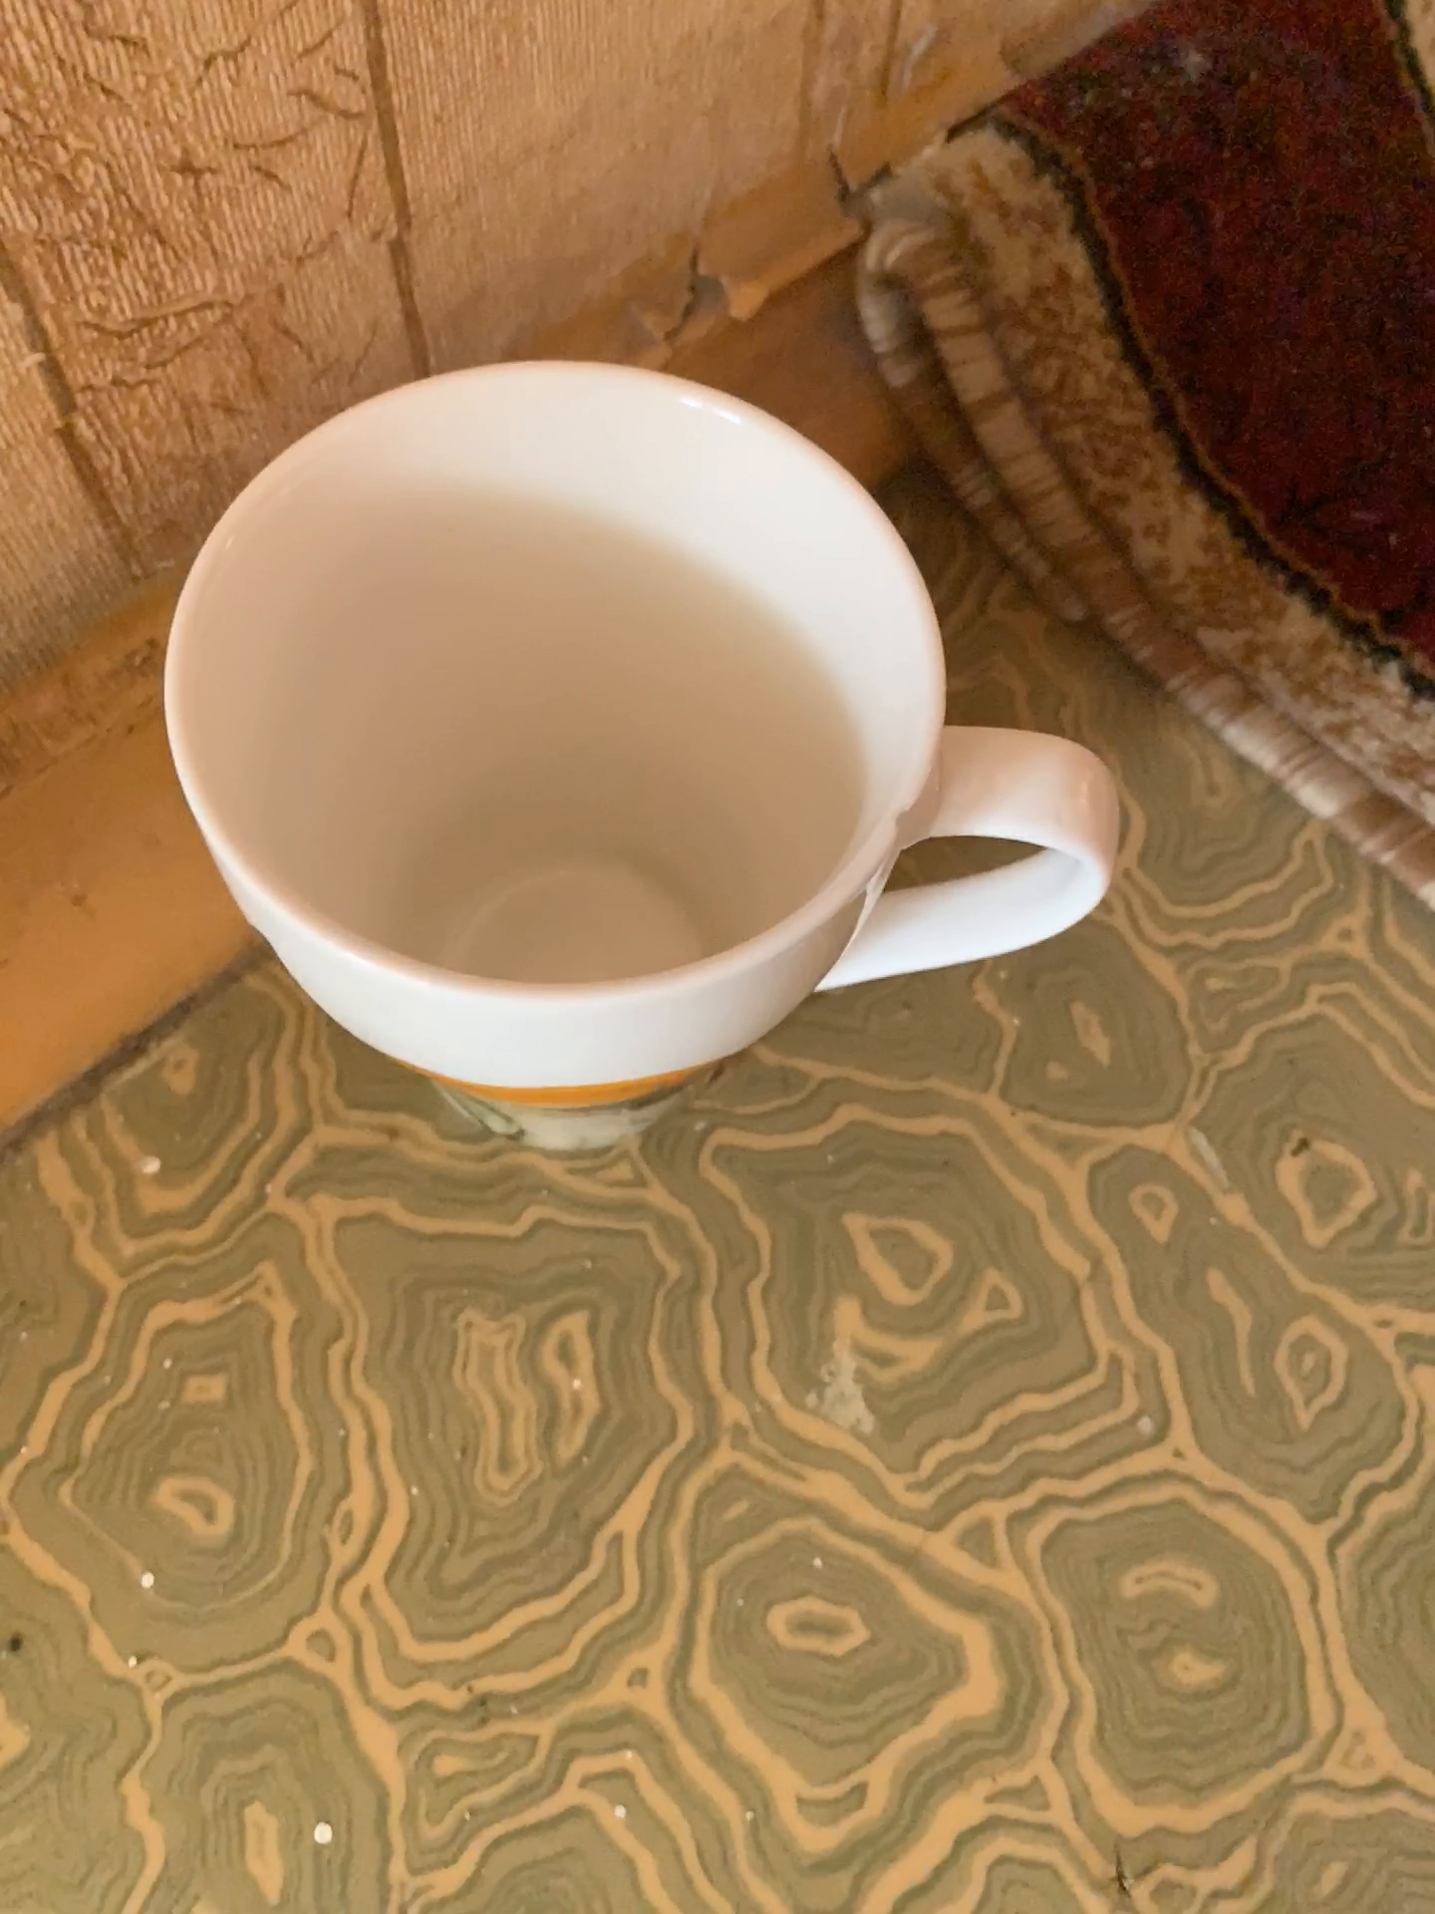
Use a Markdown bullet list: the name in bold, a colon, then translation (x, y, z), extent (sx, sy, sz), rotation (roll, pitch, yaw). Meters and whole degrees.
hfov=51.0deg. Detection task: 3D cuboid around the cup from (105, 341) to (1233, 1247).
- **cup**: translation (-0.008, -0.016, 0.222), extent (0.118, 0.099, 0.094), rotation (0, 65, -4)
